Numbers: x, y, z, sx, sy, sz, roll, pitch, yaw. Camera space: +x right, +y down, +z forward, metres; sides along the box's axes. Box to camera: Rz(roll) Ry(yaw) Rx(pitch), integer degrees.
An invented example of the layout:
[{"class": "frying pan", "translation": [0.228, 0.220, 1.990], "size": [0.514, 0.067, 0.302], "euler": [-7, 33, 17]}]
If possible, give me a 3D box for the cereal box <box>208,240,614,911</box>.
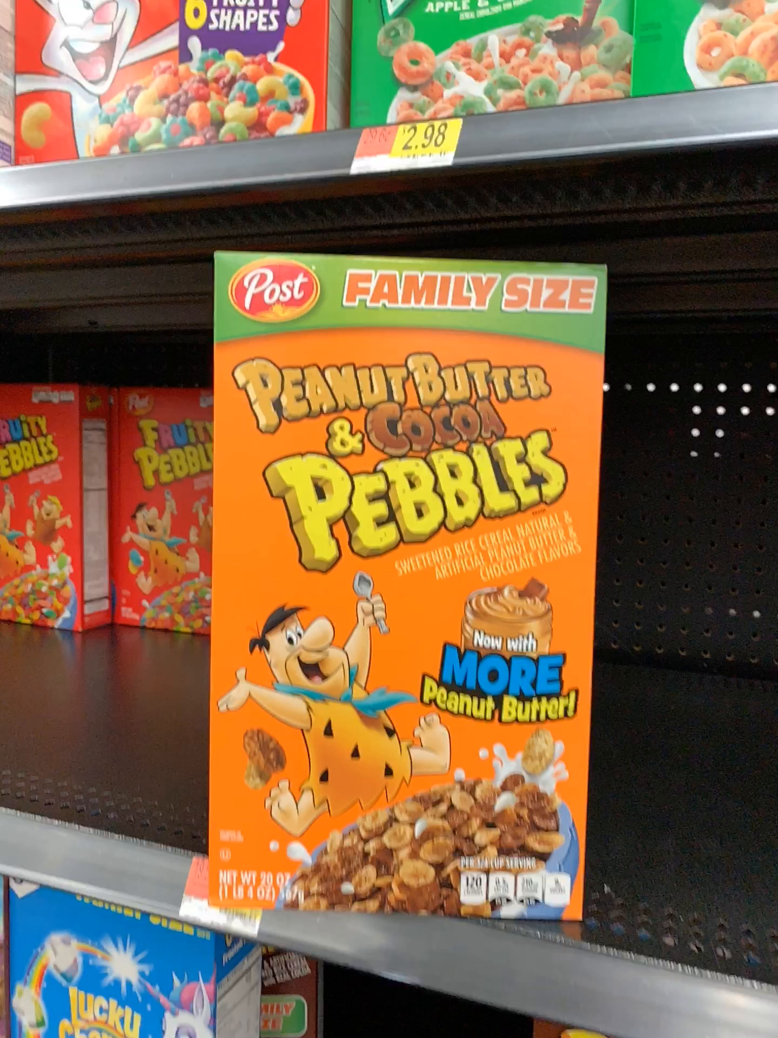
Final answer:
[{"class": "cereal box", "translation": [0.009, 0.031, 0.439], "size": [0.200, 0.340, 0.060], "euler": [1, 4, 0]}]
